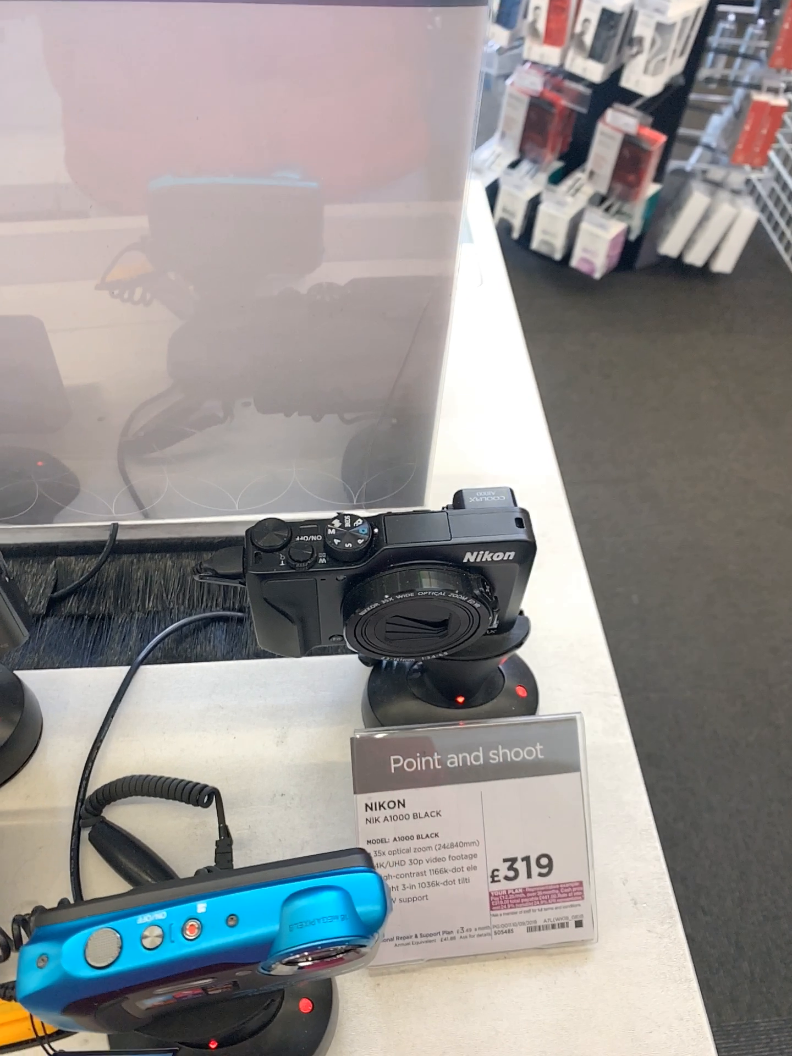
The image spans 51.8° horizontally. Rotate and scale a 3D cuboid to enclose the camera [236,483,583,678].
[{"bbox_3d":[0.002,0.022,0.320,0.120,0.079,0.030,-3,52,-7],"label":"camera"}]
